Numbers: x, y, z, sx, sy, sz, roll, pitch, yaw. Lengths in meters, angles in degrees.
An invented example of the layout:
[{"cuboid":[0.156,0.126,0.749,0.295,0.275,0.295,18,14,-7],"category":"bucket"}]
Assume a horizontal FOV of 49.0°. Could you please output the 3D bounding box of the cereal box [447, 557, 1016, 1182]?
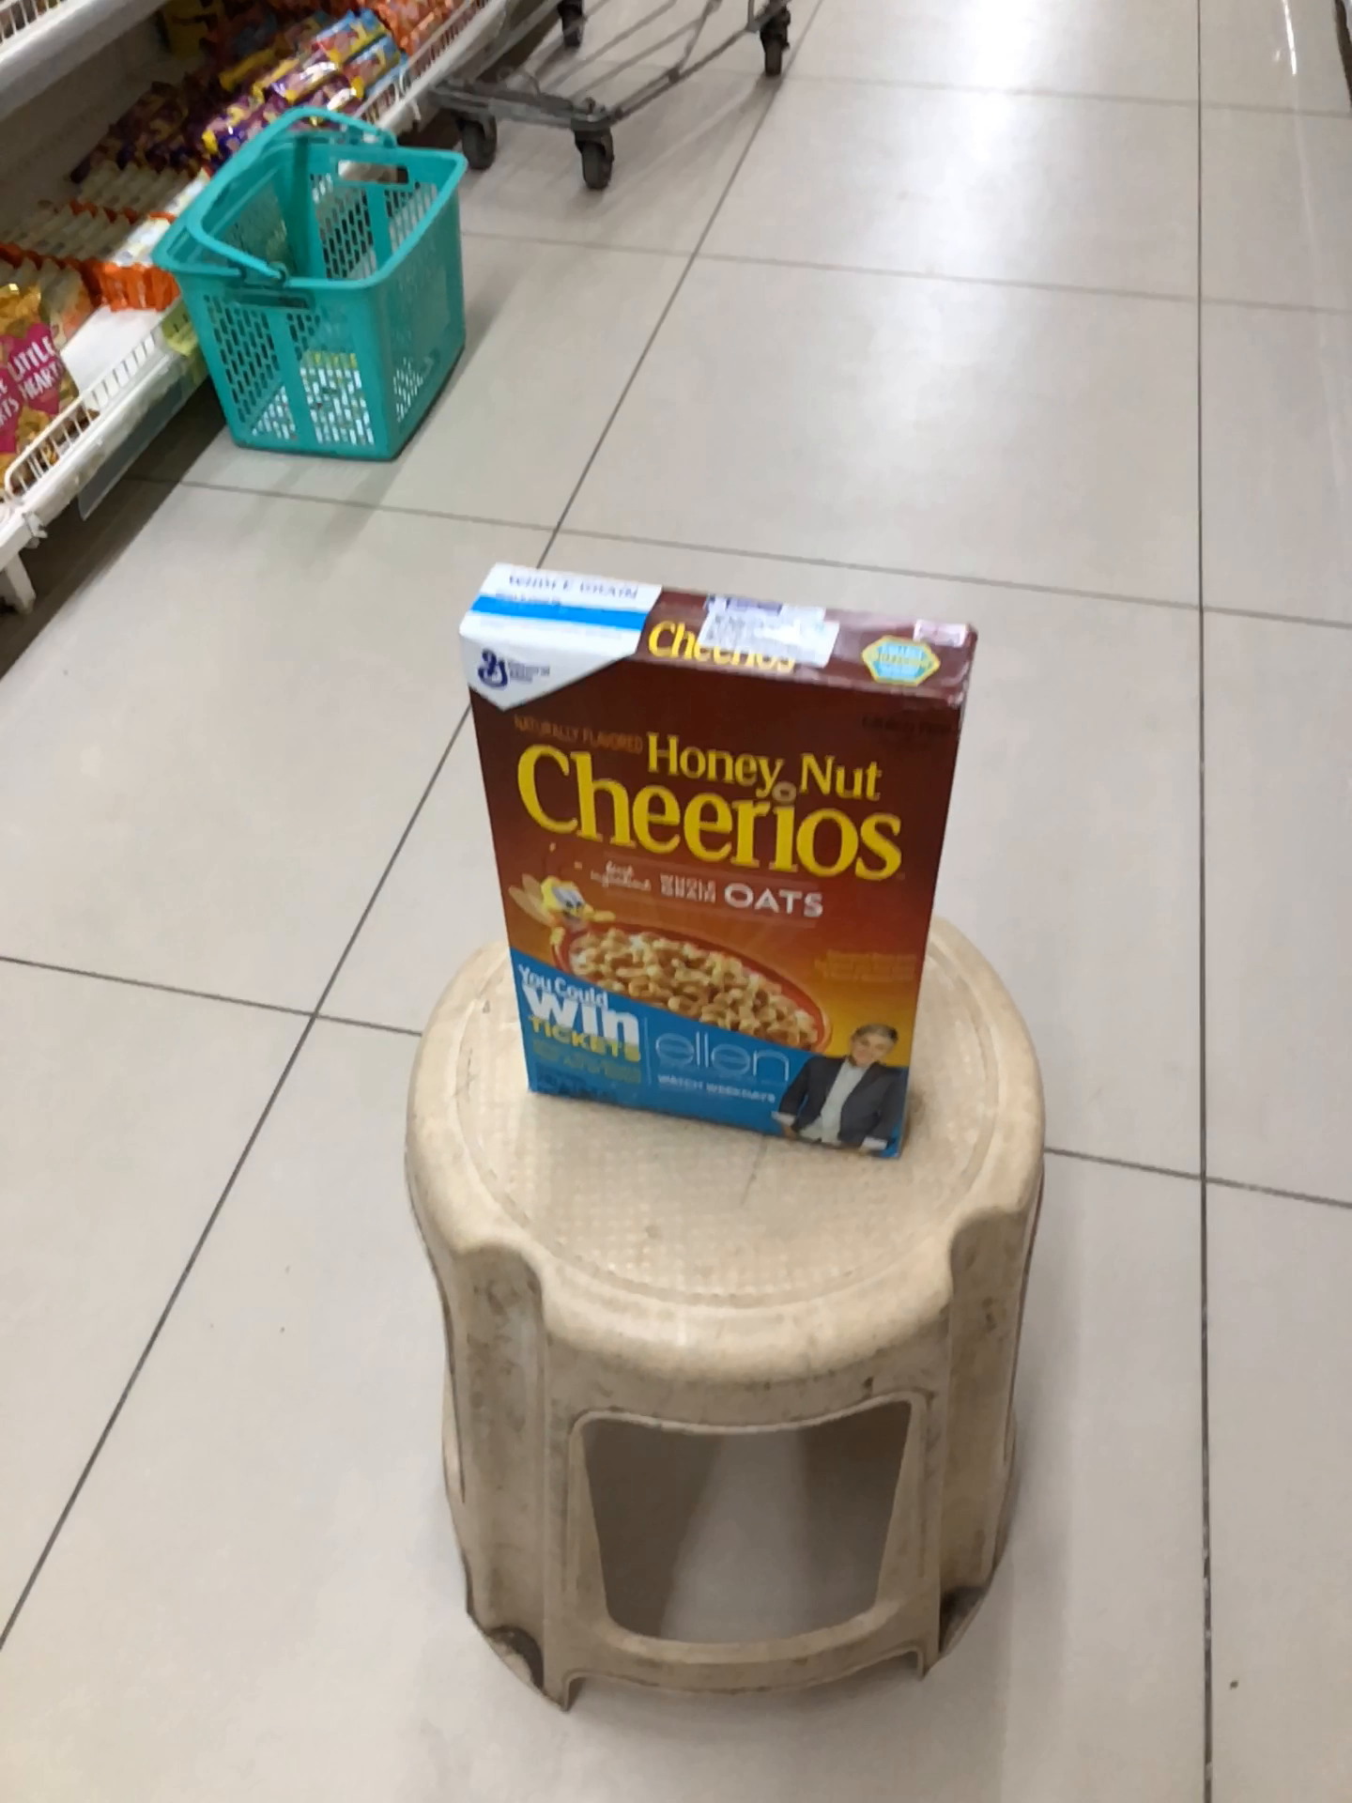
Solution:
[{"cuboid":[0.022,0.001,0.615,0.190,0.278,0.050,10,48,10],"category":"cereal box"}]
